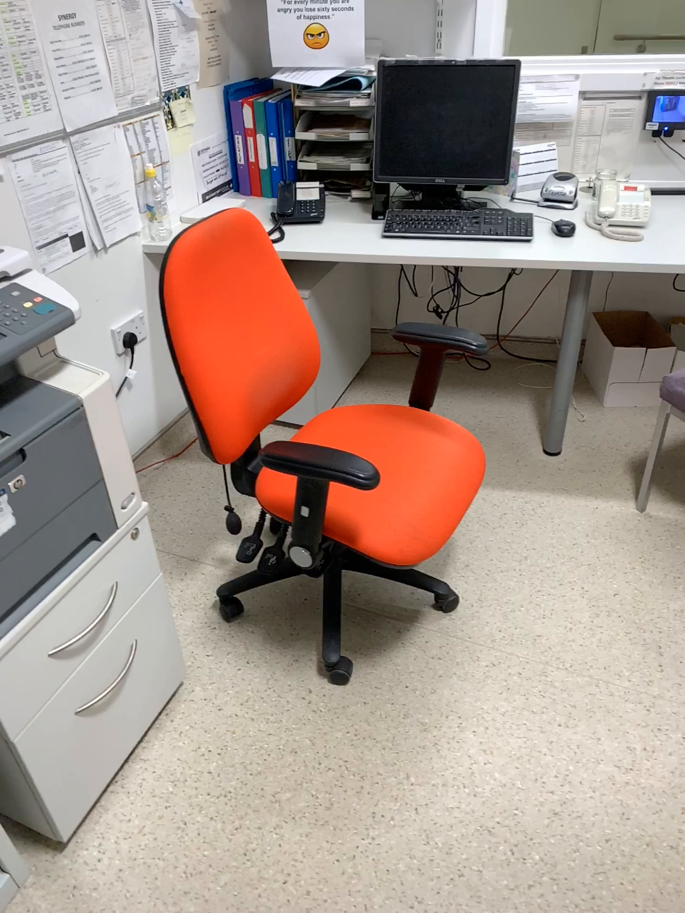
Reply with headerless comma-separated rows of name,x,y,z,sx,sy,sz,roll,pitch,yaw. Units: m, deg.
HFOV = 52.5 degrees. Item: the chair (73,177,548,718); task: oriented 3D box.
chair,-0.023,-0.067,1.610,0.686,0.893,0.655,17,39,25
